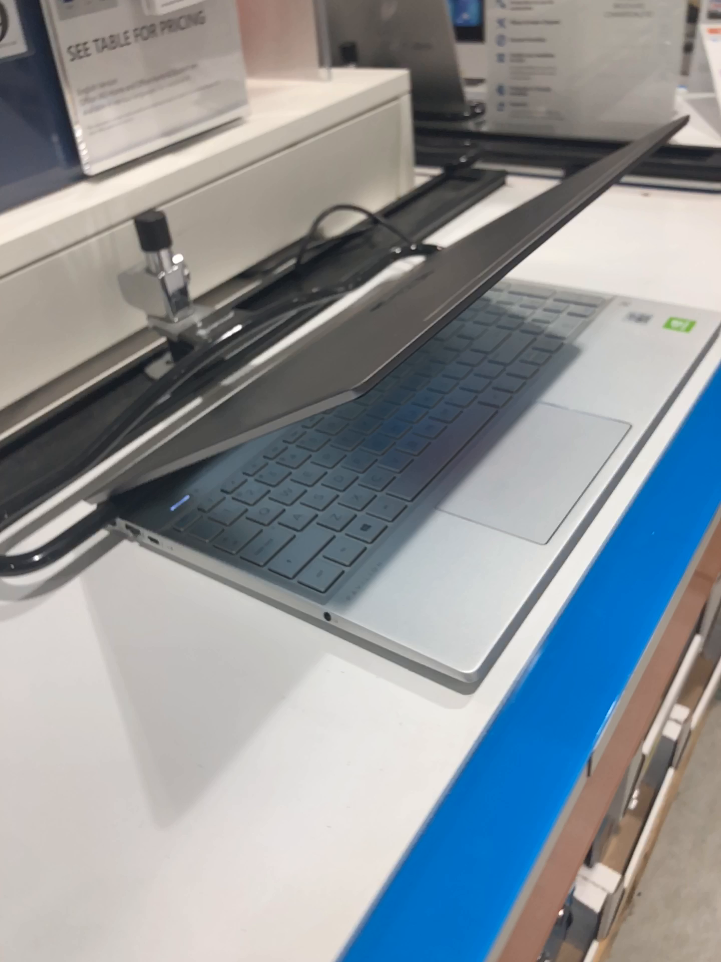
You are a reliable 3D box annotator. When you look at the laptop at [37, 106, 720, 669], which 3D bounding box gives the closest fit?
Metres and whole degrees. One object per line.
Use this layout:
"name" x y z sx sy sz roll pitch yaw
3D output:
"laptop" 0.047 -0.097 0.451 0.216 0.124 0.348 19 43 30
